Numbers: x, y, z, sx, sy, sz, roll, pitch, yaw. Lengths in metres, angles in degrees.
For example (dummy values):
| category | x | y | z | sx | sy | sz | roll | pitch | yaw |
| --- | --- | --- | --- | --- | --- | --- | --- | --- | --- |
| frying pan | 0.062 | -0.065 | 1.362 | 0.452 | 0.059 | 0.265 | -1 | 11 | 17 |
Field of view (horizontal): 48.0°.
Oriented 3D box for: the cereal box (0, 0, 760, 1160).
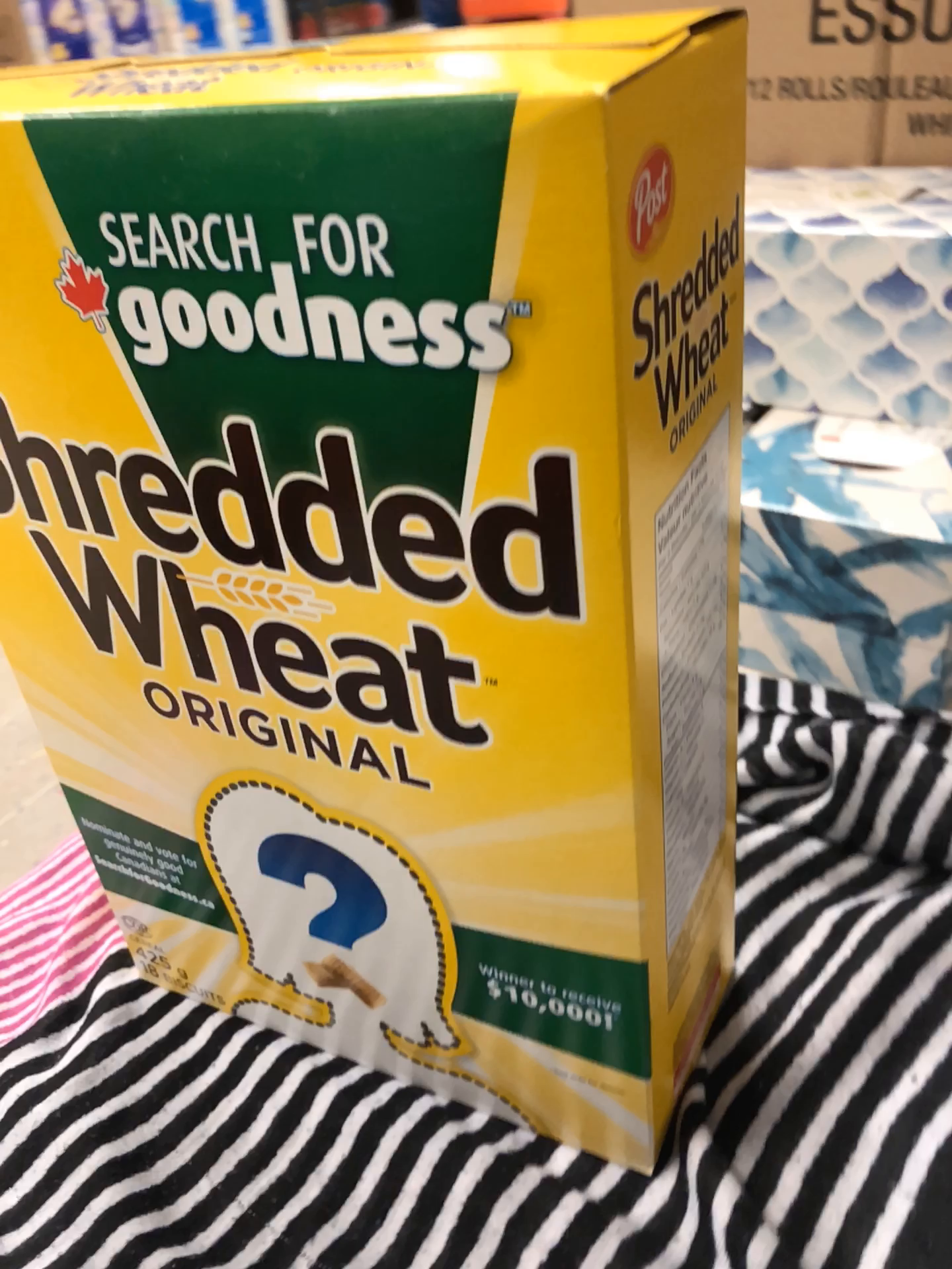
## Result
| category | x | y | z | sx | sy | sz | roll | pitch | yaw |
| --- | --- | --- | --- | --- | --- | --- | --- | --- | --- |
| cereal box | -0.046 | -0.011 | 0.281 | 0.210 | 0.269 | 0.080 | 10 | 37 | 25 |
